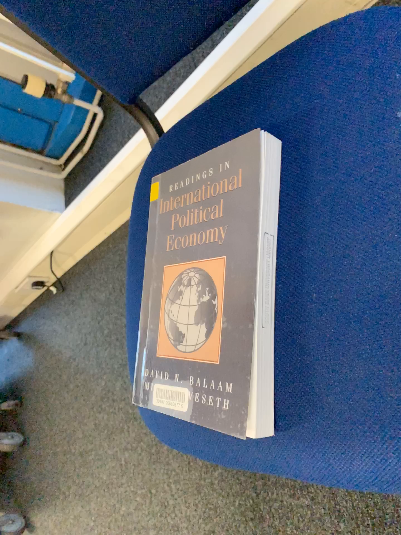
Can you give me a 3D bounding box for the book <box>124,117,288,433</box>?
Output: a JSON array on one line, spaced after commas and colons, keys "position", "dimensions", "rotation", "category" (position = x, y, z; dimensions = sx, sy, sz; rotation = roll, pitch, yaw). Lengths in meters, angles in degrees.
[{"position": [0.000, 0.007, 0.349], "dimensions": [0.151, 0.030, 0.220], "rotation": [-8, 73, 47], "category": "book"}]
